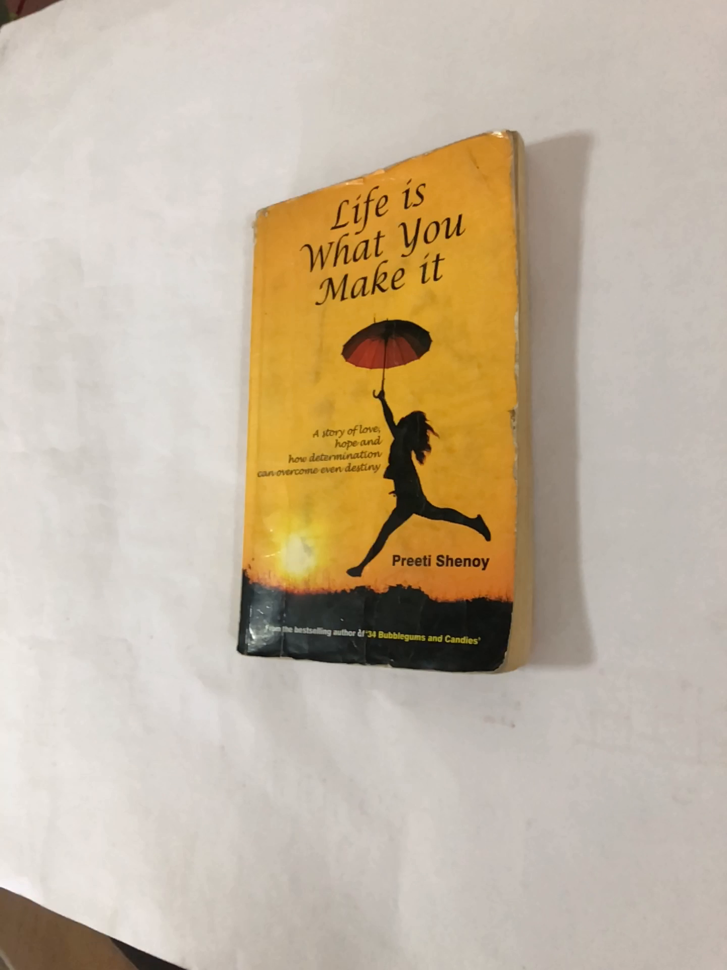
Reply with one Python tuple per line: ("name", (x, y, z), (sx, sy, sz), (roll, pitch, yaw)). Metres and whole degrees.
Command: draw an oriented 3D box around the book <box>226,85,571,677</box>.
("book", (0.009, -0.036, 0.325), (0.141, 0.020, 0.210), (-4, 81, 32))
